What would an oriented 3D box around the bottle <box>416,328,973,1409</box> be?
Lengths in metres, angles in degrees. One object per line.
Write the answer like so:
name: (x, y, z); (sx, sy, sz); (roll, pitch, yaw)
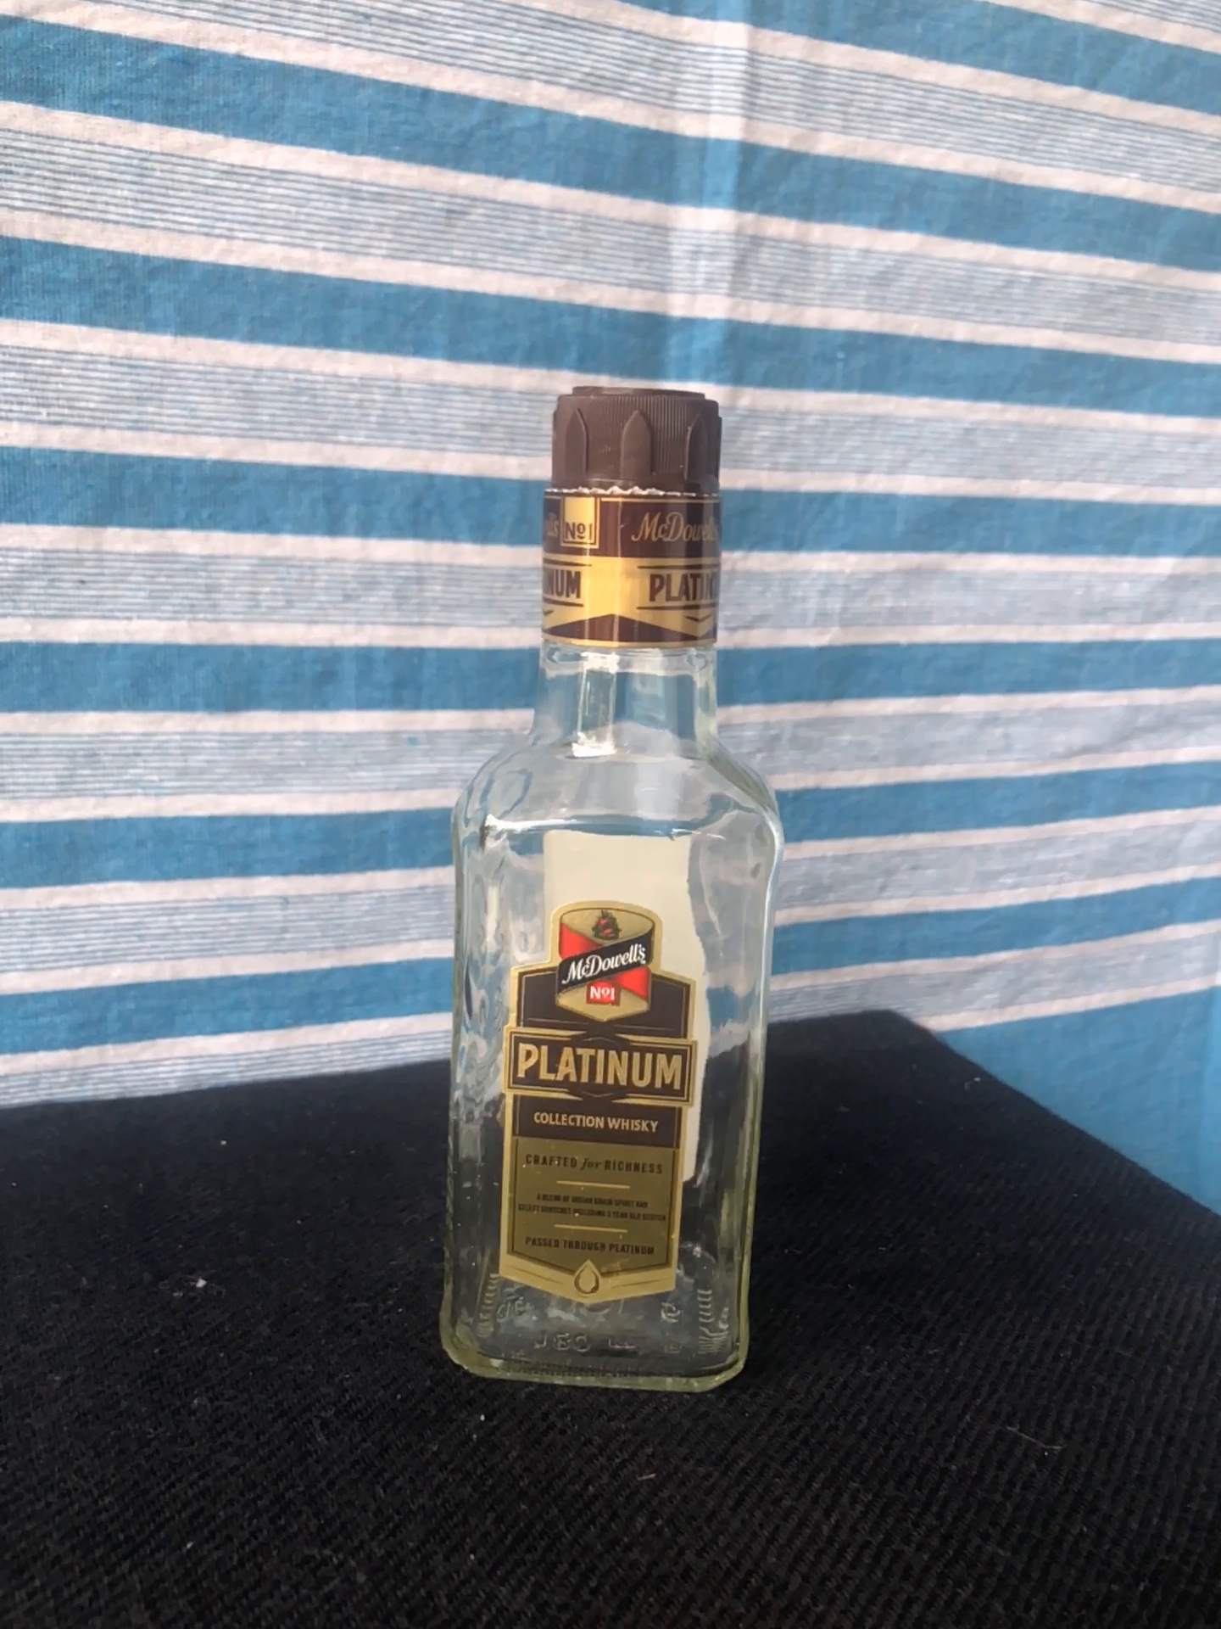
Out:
bottle: (0.008, 0.010, 0.207); (0.060, 0.149, 0.040); (5, 14, -2)
